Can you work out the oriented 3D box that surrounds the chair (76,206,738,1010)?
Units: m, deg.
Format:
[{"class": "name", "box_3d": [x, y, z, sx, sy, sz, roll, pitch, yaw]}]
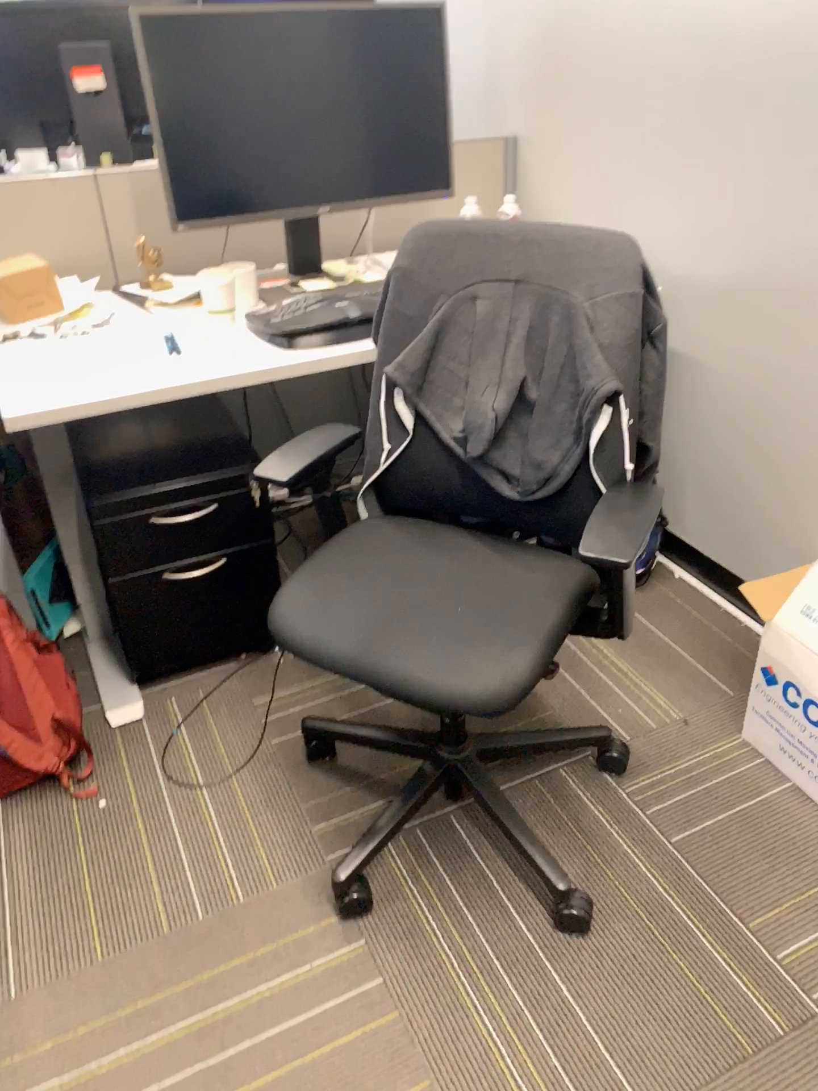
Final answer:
[{"class": "chair", "box_3d": [0.086, 0.025, 1.447, 0.681, 0.994, 0.803, 12, 34, 21]}]
